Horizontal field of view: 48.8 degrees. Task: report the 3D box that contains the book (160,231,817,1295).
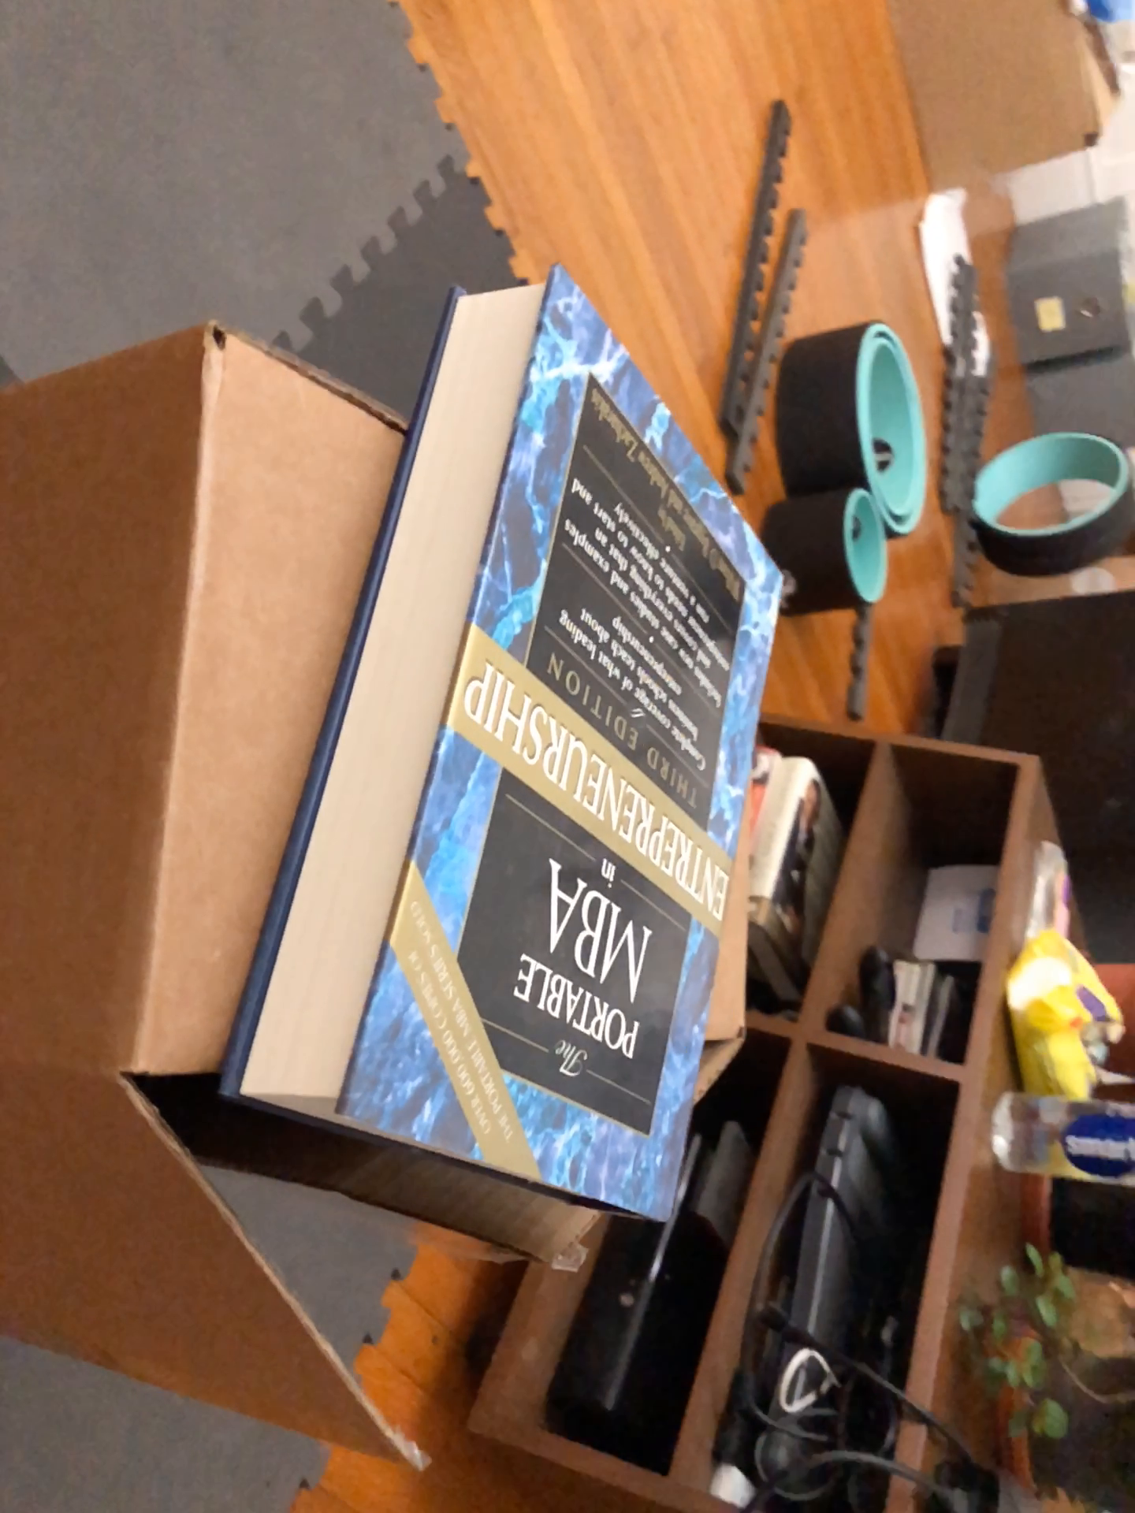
[{"bbox_3d":[0.006,0.016,0.405,0.211,0.060,0.270,40,53,-50],"label":"book"}]
